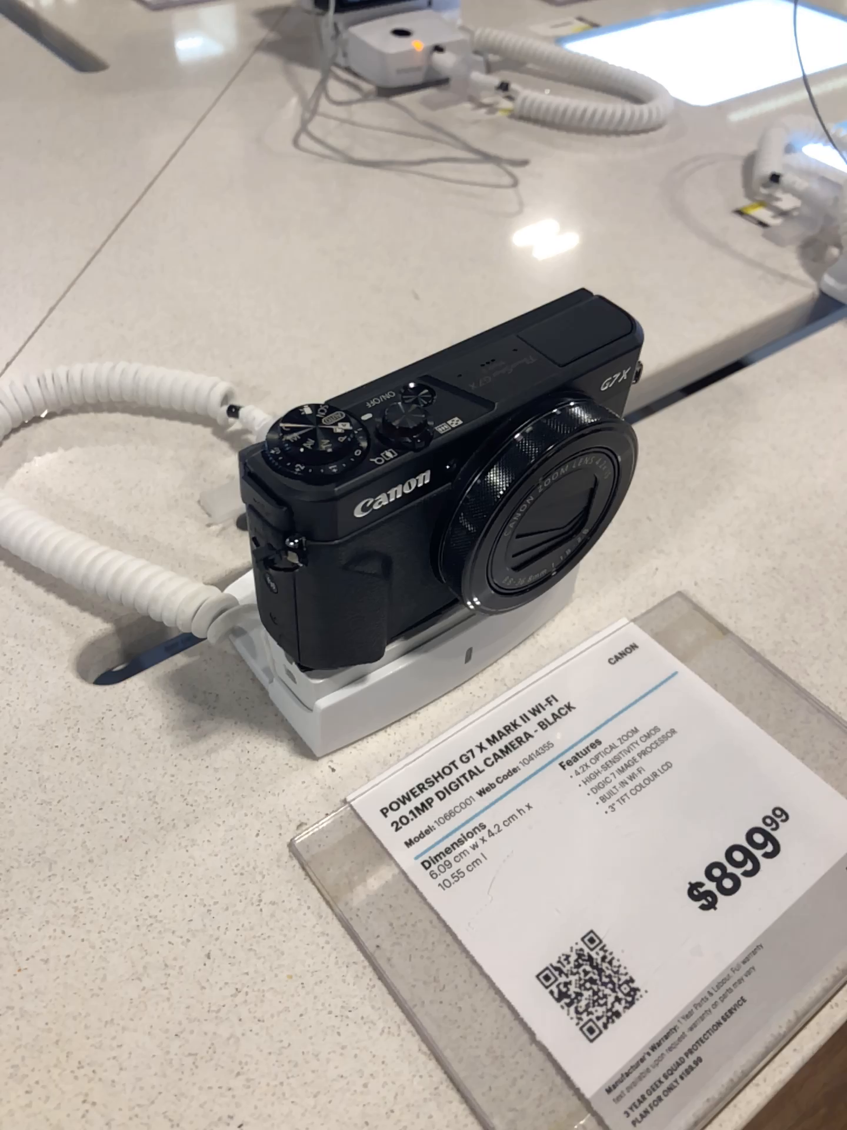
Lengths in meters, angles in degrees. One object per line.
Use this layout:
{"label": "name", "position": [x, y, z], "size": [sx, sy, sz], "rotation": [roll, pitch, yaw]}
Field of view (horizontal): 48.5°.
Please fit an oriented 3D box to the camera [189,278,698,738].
{"label": "camera", "position": [0.007, -0.017, 0.225], "size": [0.110, 0.060, 0.040], "rotation": [-29, 54, -27]}
